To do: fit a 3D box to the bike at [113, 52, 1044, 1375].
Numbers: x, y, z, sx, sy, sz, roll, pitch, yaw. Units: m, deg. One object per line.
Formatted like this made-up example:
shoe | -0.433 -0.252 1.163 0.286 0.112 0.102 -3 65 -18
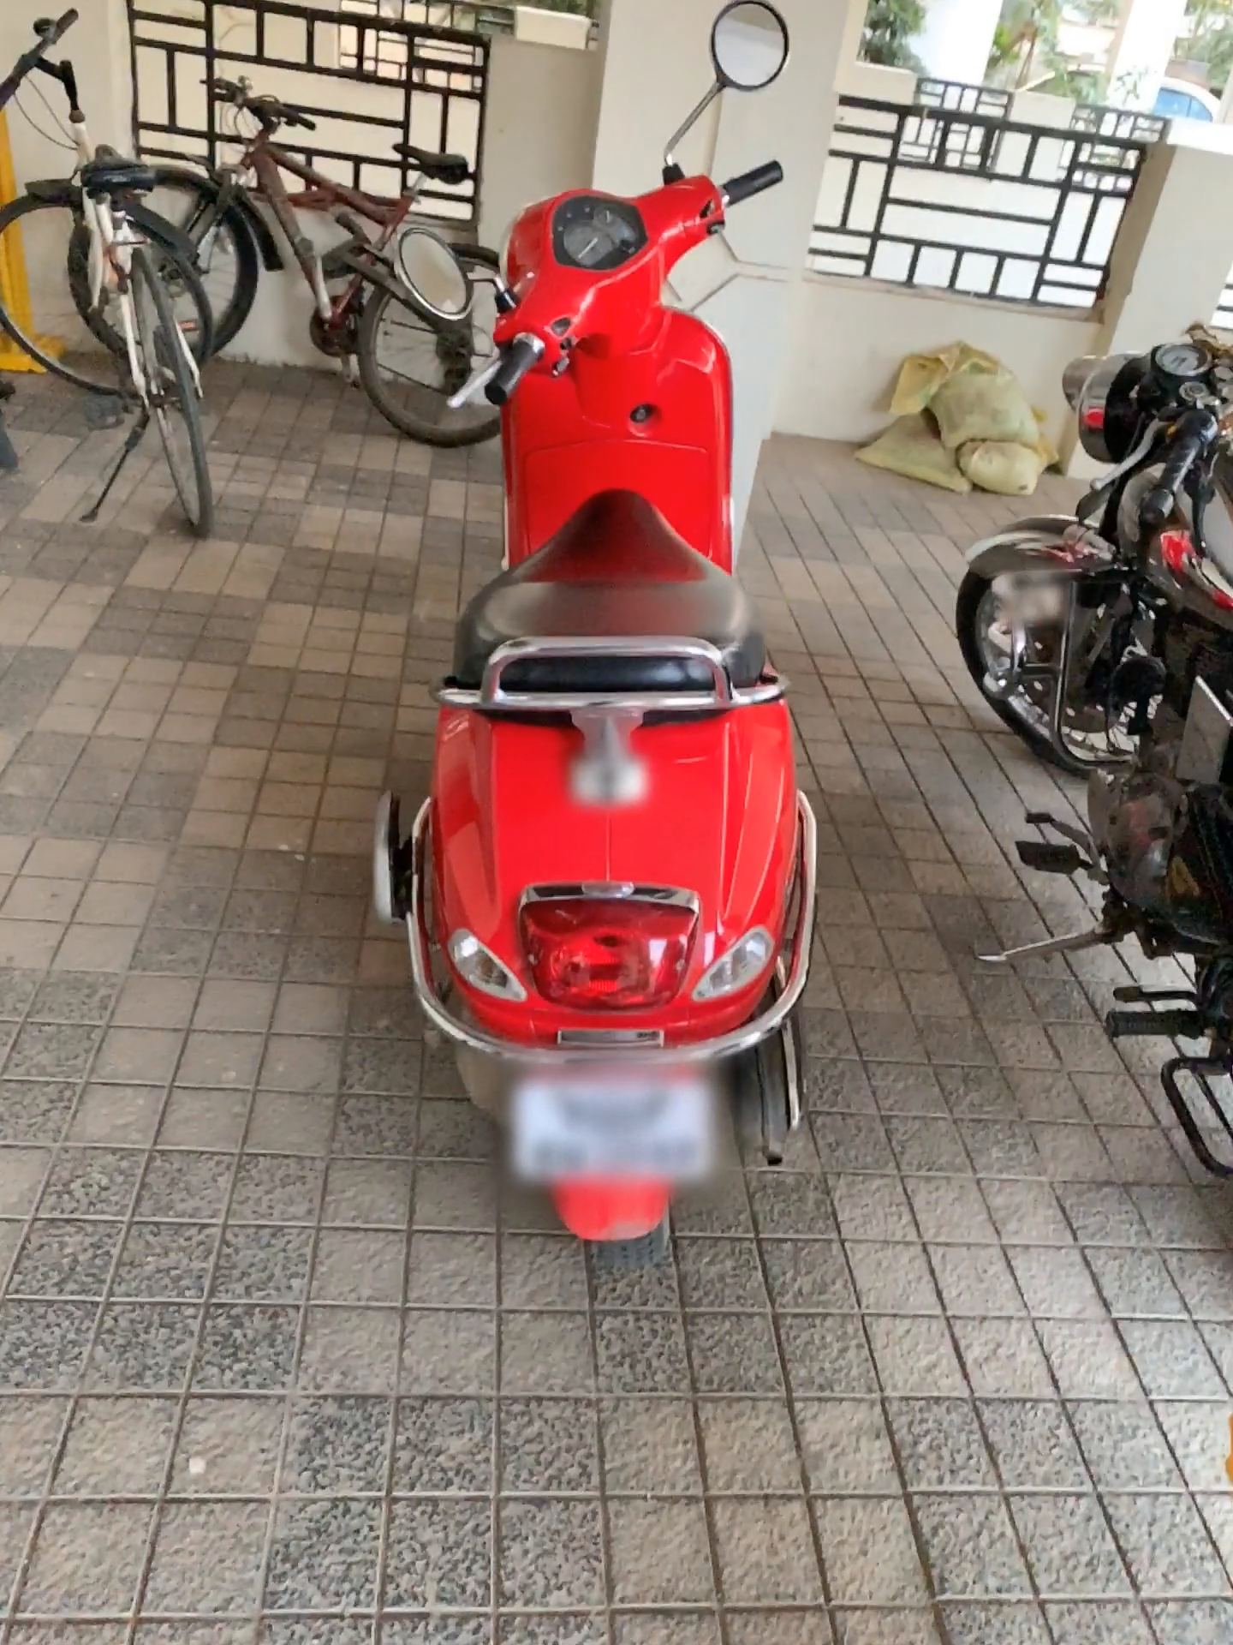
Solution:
bike | -0.228 -0.297 1.879 0.681 1.260 1.556 2 34 -11
